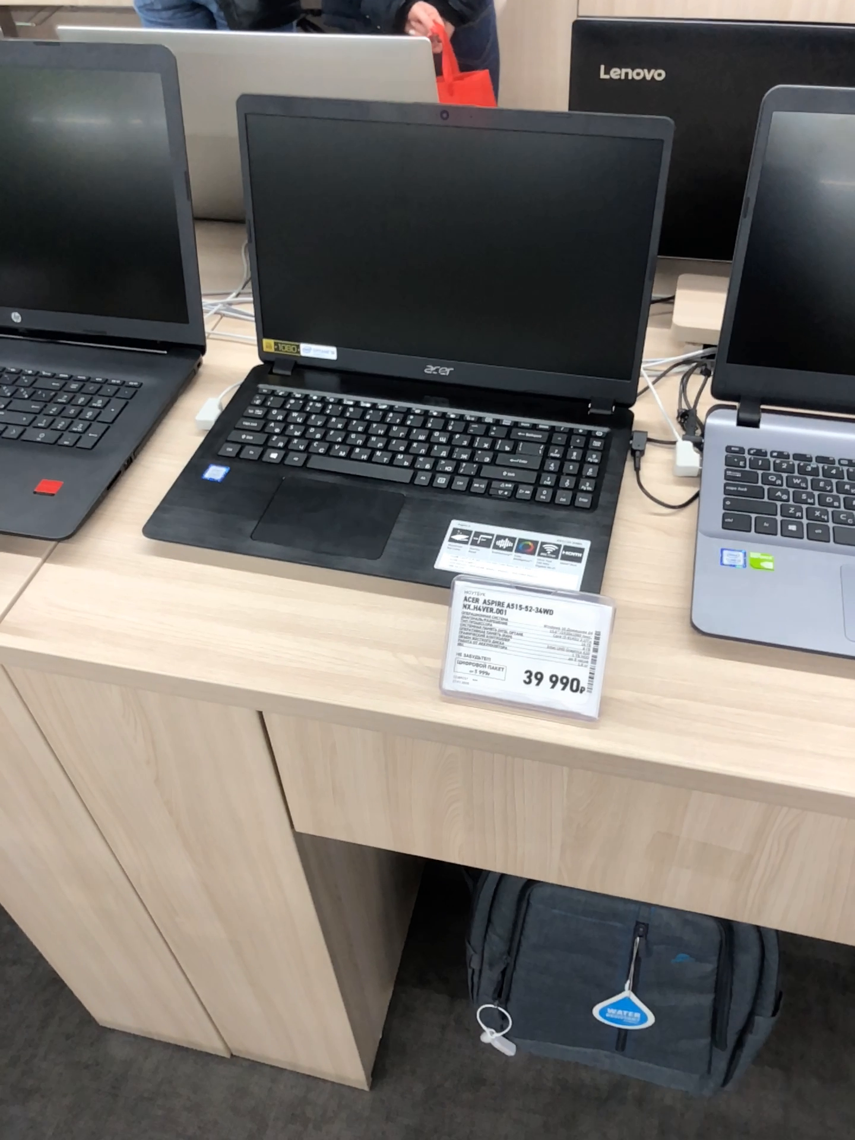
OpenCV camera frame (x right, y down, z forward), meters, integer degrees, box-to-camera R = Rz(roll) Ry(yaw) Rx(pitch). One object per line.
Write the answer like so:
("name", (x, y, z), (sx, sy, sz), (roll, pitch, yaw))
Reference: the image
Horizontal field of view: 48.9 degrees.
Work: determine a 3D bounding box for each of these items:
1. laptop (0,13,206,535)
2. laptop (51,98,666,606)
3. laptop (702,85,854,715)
("laptop", (-0.431, -0.262, 0.783), (0.353, 0.226, 0.346), (7, 48, 8))
("laptop", (-0.022, -0.181, 0.713), (0.346, 0.219, 0.292), (9, 47, 12))
("laptop", (0.380, -0.134, 0.619), (0.327, 0.218, 0.326), (9, 49, 14))
